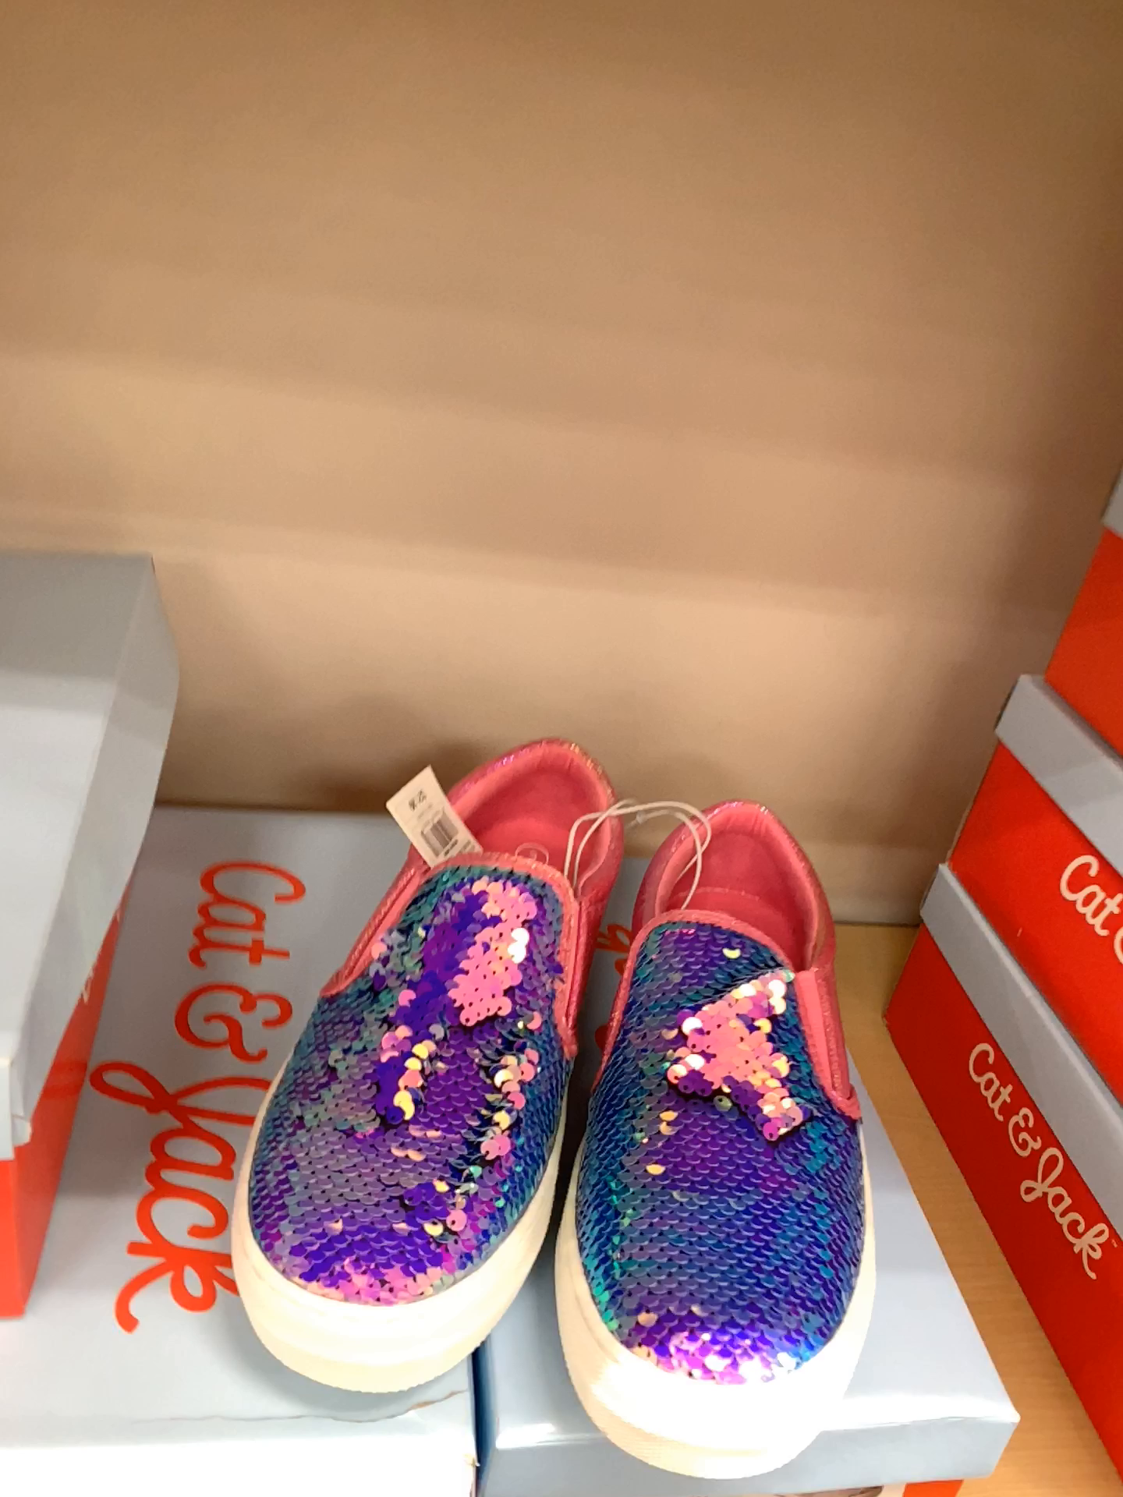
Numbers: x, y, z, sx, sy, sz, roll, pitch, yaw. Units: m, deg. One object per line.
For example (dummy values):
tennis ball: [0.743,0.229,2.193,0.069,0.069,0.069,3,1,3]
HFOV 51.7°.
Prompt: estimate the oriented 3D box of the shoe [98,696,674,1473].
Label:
shoe: [-0.034,0.075,0.345,0.100,0.074,0.211,13,31,5]

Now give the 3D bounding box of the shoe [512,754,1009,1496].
shoe: [0.045,0.095,0.337,0.090,0.074,0.211,9,31,-2]
